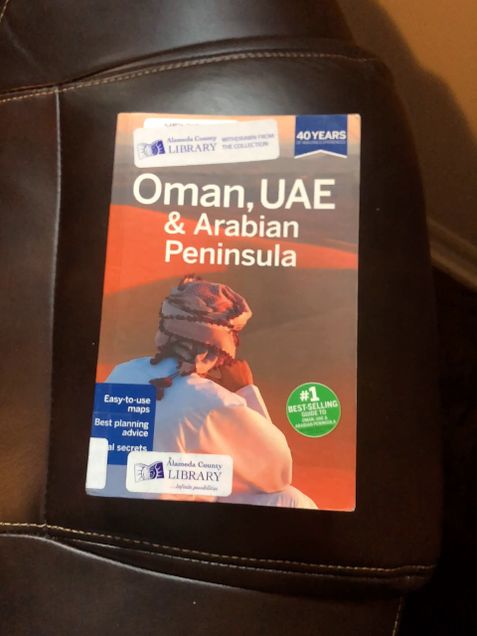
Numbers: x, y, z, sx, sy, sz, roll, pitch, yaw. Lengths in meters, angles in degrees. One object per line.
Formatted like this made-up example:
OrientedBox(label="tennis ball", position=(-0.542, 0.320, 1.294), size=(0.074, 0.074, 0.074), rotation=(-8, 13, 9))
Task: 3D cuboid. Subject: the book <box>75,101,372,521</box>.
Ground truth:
OrientedBox(label="book", position=(-0.004, -0.007, 0.277), size=(0.137, 0.030, 0.203), rotation=(2, 83, 2))
